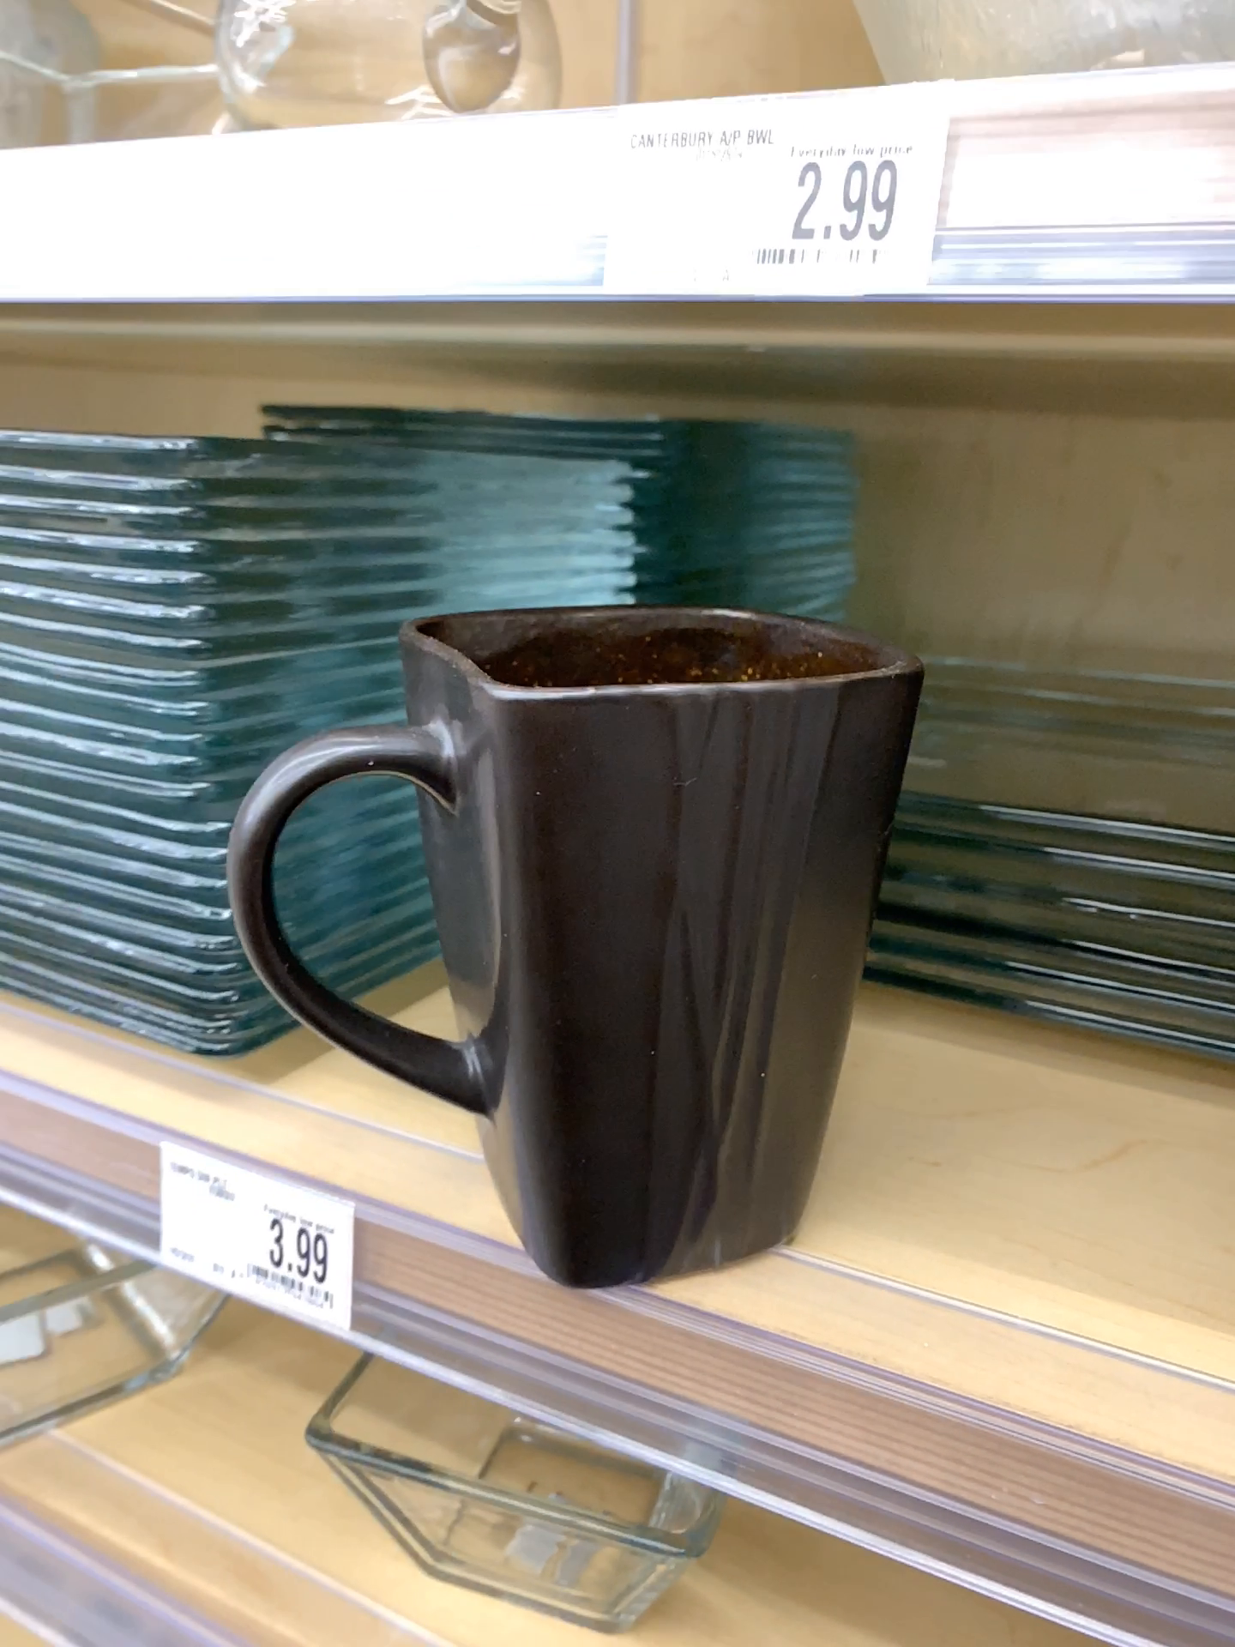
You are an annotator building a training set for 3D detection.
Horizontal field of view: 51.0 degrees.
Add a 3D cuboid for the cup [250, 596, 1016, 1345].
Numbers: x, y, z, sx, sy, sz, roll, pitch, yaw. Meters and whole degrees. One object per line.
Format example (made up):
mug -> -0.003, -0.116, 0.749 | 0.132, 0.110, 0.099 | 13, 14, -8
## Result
cup -> -0.005, 0.014, 0.240 | 0.107, 0.099, 0.088 | -4, 17, -26
